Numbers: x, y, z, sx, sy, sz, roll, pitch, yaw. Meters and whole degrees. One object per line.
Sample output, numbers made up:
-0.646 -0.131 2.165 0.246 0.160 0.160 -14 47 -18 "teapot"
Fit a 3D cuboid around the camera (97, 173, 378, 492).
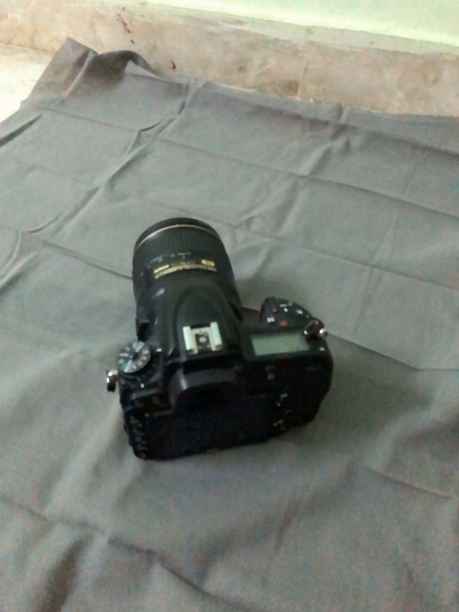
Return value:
-0.008 0.015 0.360 0.146 0.134 0.164 -7 49 -7 "camera"
